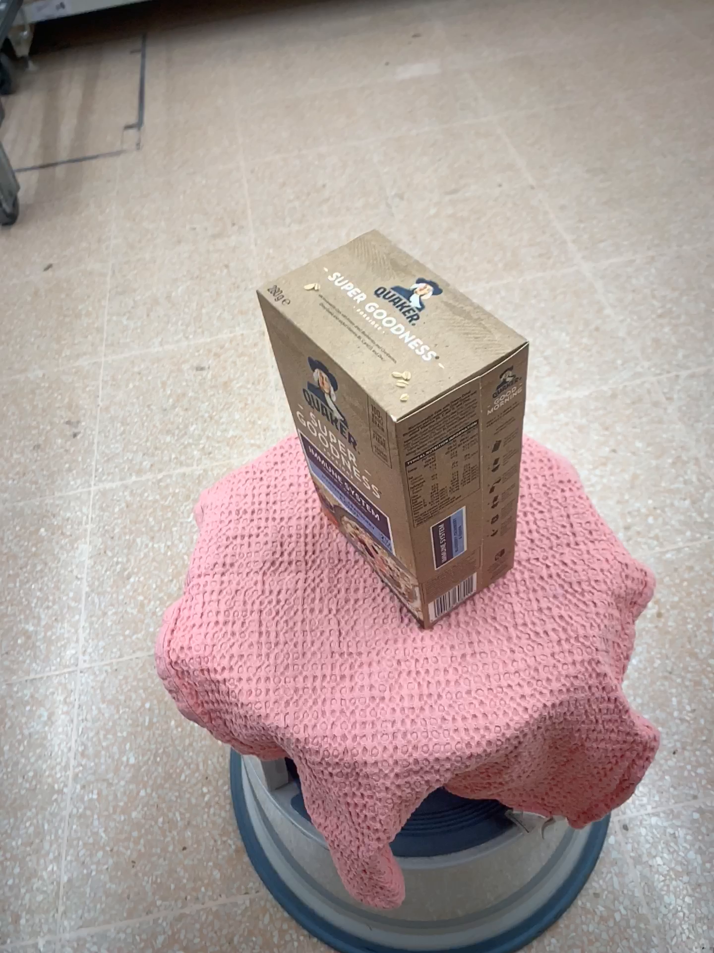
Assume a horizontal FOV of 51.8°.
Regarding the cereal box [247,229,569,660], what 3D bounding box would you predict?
[{"bbox_3d":[0.033,-0.012,0.455,0.100,0.208,0.141,-32,54,-16],"label":"cereal box"}]
